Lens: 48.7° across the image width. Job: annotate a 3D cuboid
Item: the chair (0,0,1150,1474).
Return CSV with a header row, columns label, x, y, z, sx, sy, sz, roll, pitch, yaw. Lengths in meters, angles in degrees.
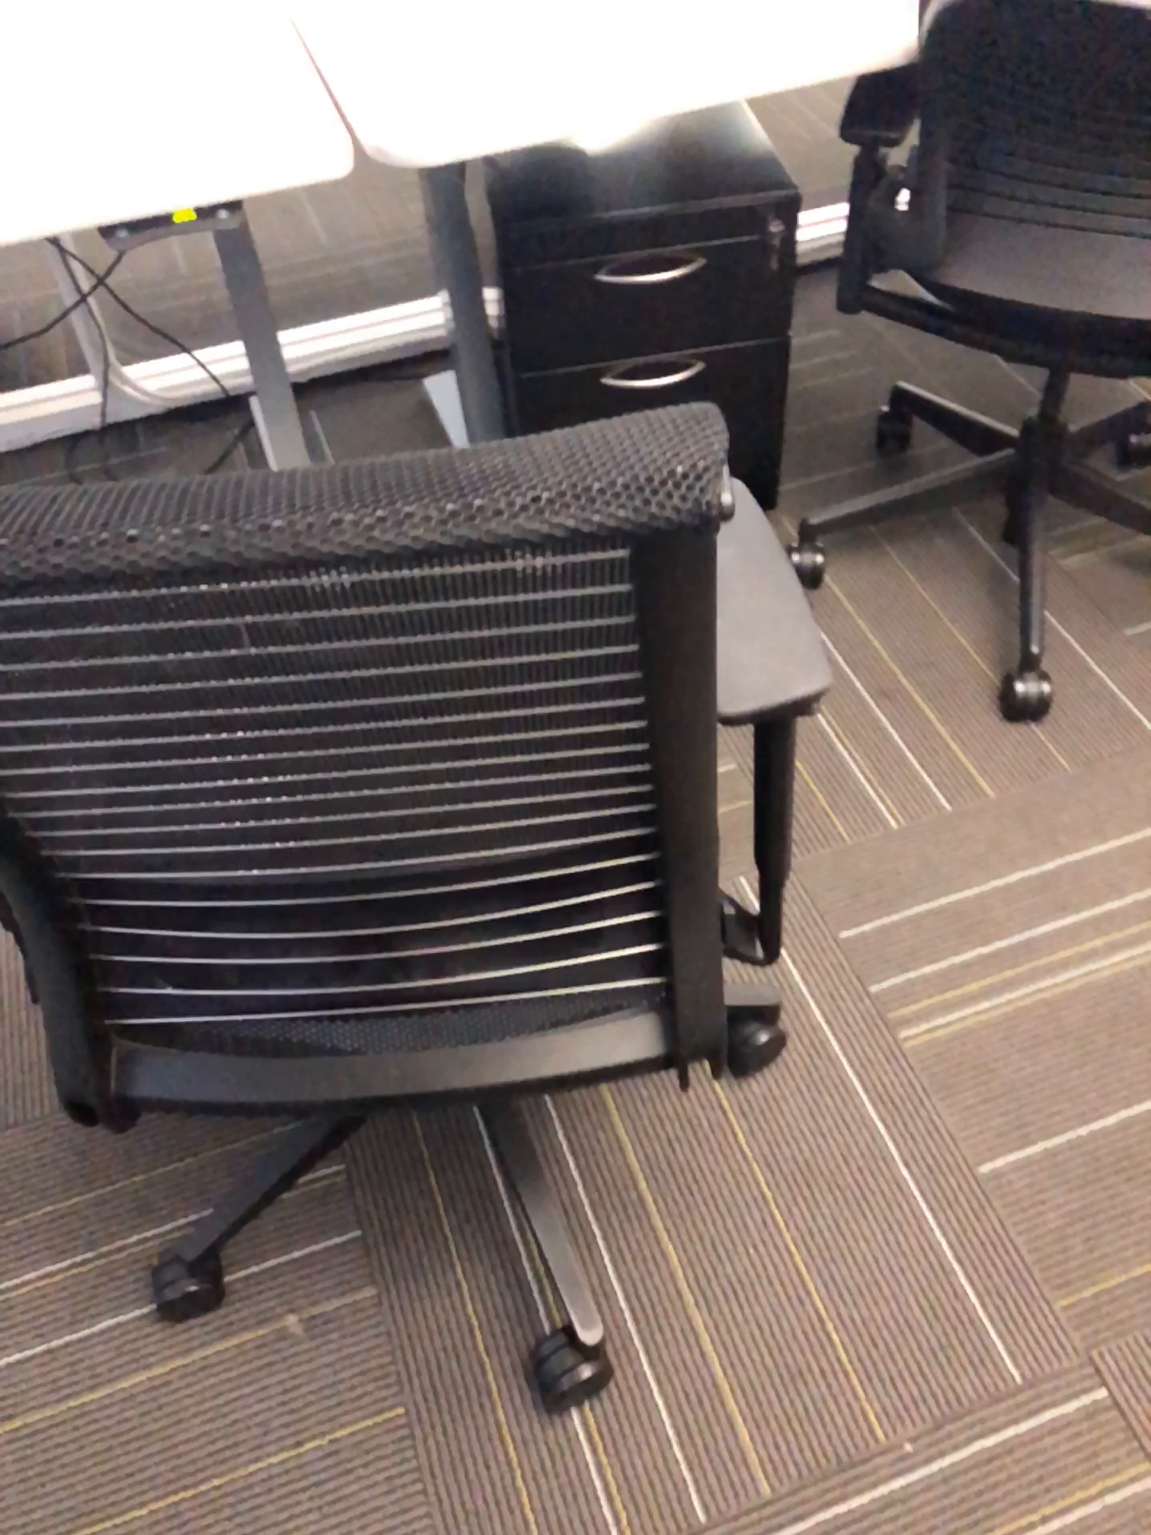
label,x,y,z,sx,sy,sz,roll,pitch,yaw
chair,-0.156,0.003,0.970,0.750,0.996,0.663,-6,49,-1
